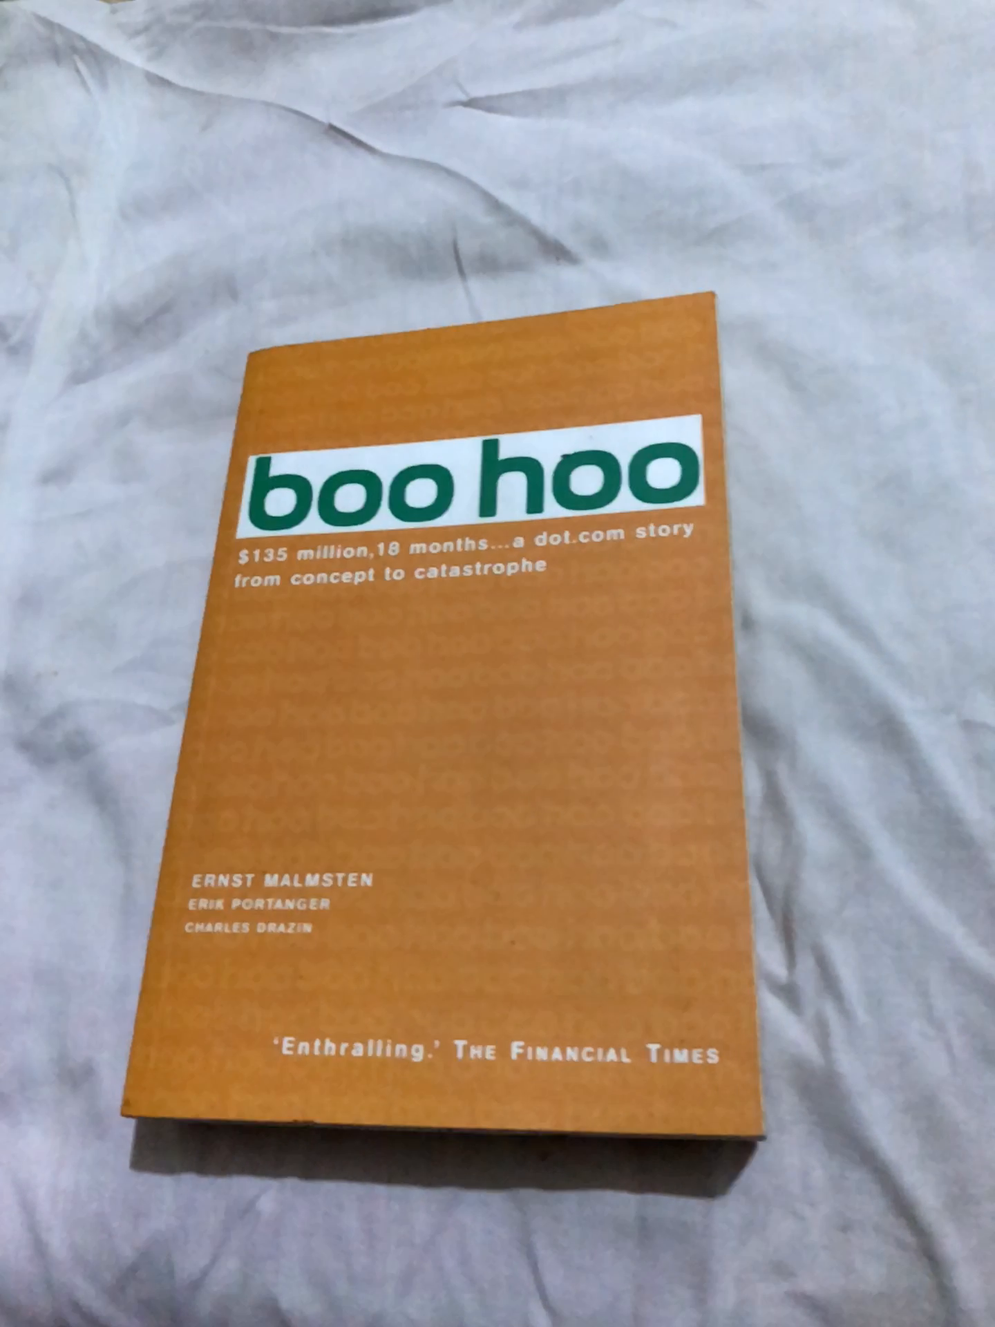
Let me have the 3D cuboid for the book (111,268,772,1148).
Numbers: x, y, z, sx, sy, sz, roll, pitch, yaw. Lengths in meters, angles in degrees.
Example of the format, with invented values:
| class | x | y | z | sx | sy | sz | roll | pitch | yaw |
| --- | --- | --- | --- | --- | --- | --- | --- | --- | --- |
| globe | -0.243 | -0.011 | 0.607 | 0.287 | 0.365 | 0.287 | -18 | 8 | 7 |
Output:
| class | x | y | z | sx | sy | sz | roll | pitch | yaw |
| --- | --- | --- | --- | --- | --- | --- | --- | --- | --- |
| book | -0.008 | 0.006 | 0.269 | 0.130 | 0.040 | 0.200 | -4 | 65 | 14 |
